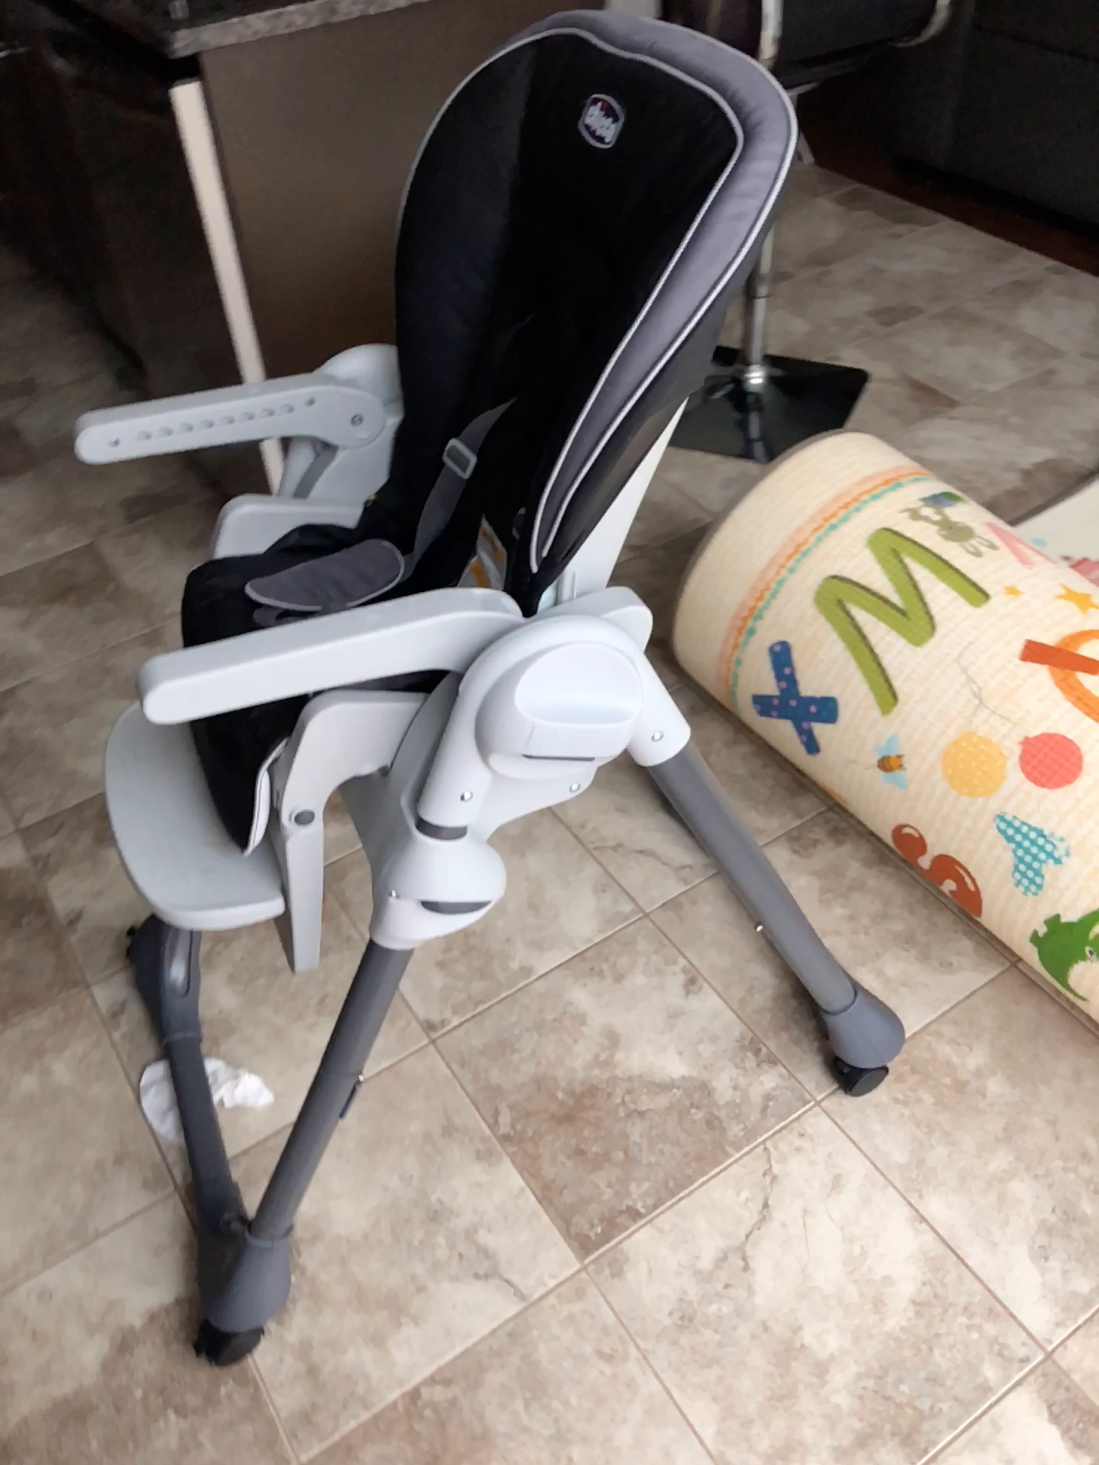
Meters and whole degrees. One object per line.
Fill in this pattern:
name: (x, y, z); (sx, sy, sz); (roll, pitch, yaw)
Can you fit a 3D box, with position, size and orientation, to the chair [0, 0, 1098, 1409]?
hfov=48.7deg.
chair: (-0.105, -0.041, 1.160); (0.880, 0.996, 0.652); (-18, 45, -14)
